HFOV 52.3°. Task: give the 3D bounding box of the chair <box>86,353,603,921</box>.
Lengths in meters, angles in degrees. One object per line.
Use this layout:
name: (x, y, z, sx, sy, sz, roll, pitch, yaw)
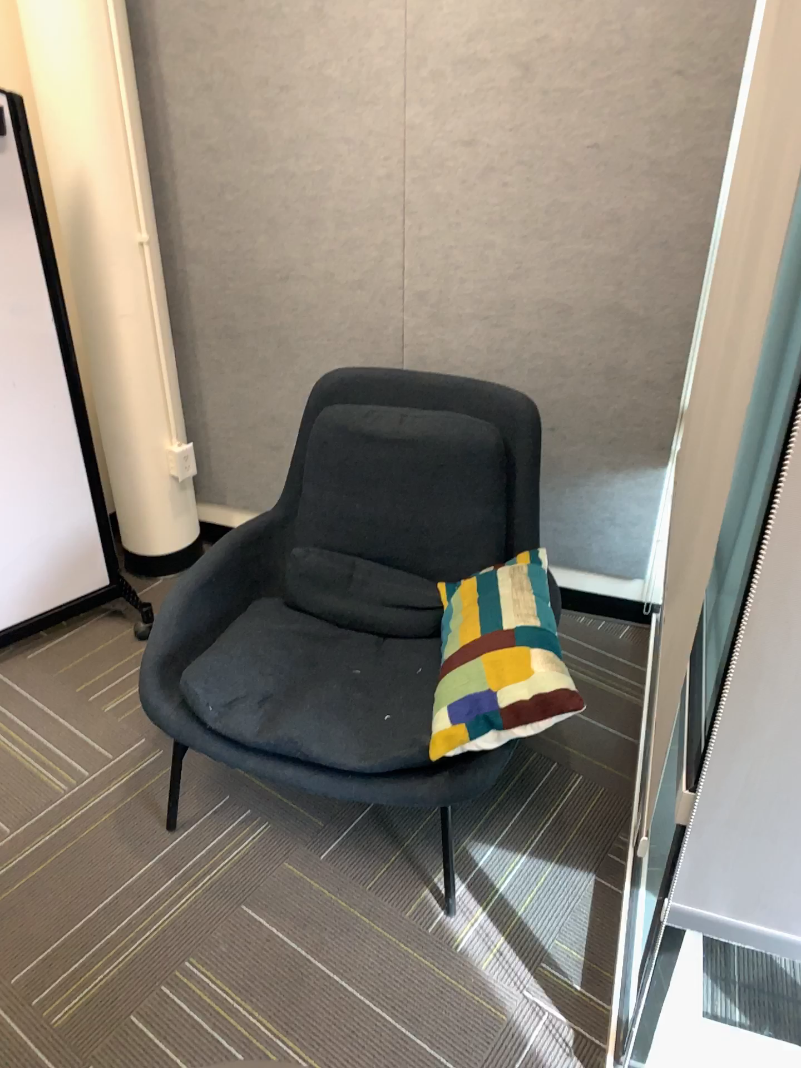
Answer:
chair: (-0.049, 0.146, 2.049, 0.791, 0.815, 1.004, 13, 33, 20)
